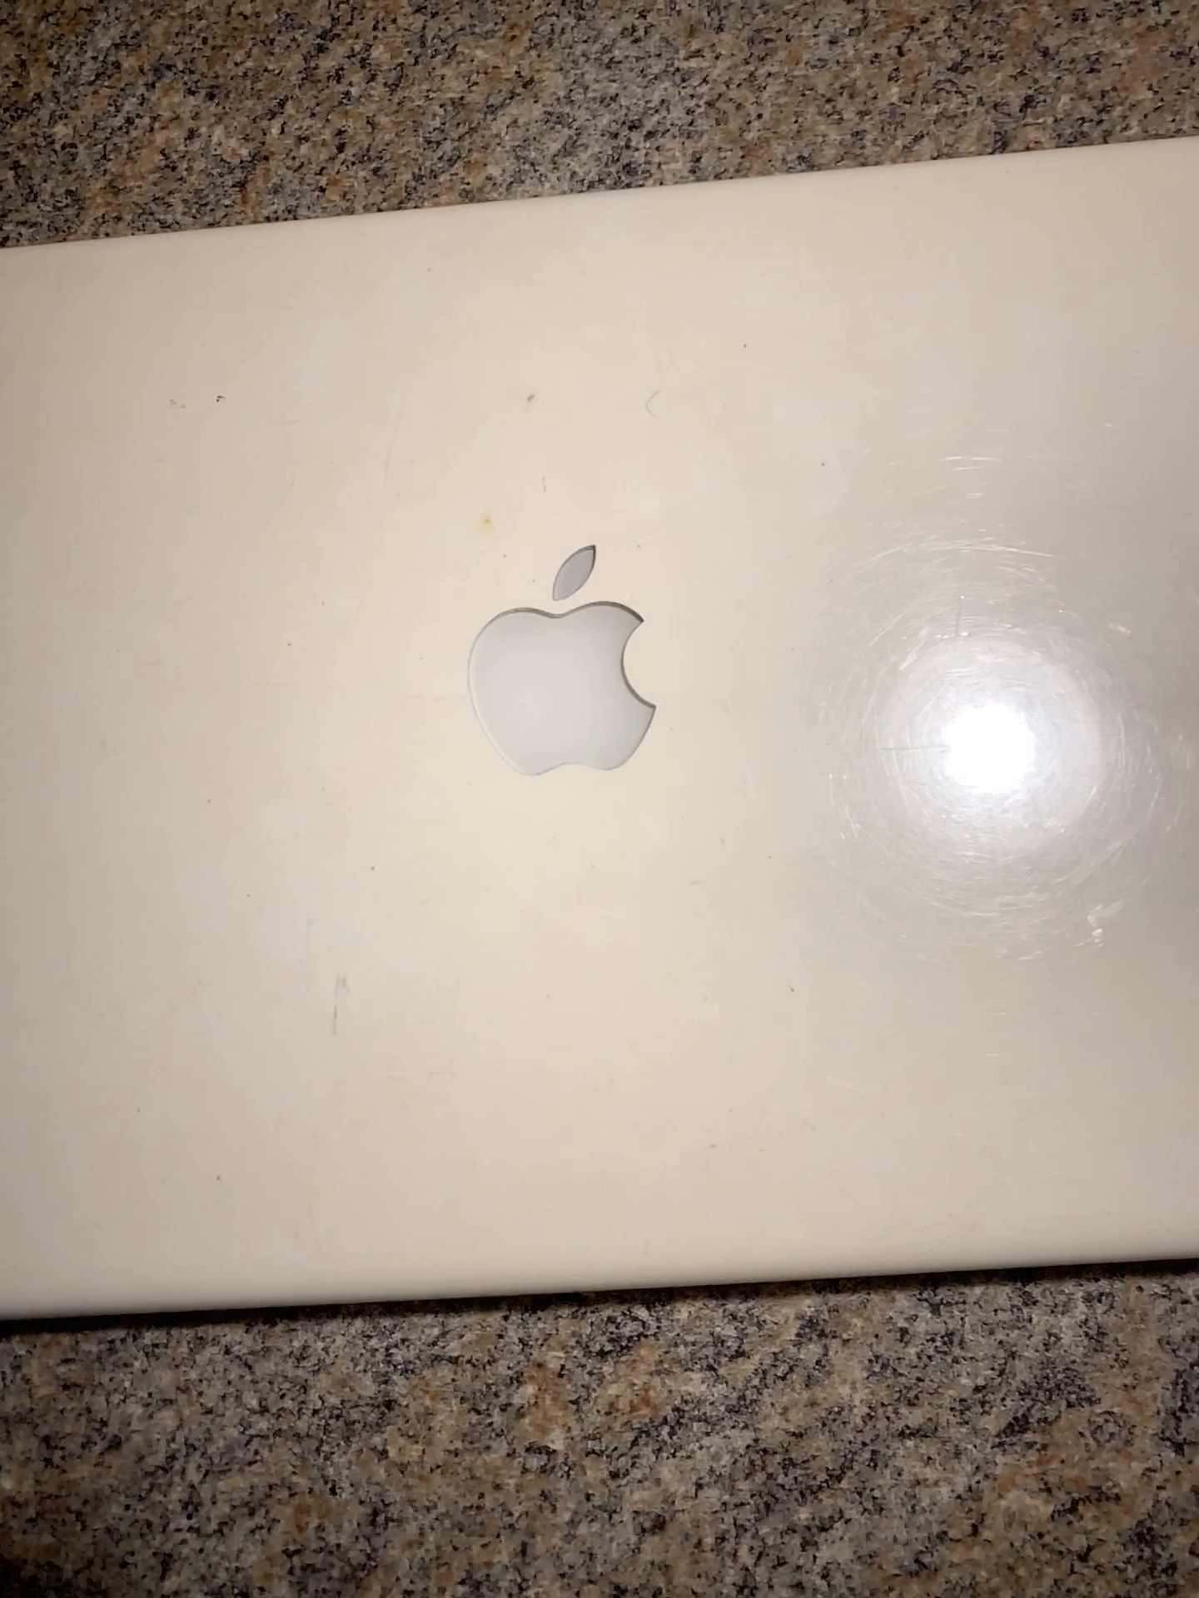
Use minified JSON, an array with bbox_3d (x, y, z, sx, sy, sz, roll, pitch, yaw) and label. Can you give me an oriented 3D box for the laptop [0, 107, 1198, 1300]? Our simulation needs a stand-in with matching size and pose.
[{"bbox_3d":[-0.011,-0.020,0.230,0.305,0.002,0.205,-4,78,6],"label":"laptop"}]
